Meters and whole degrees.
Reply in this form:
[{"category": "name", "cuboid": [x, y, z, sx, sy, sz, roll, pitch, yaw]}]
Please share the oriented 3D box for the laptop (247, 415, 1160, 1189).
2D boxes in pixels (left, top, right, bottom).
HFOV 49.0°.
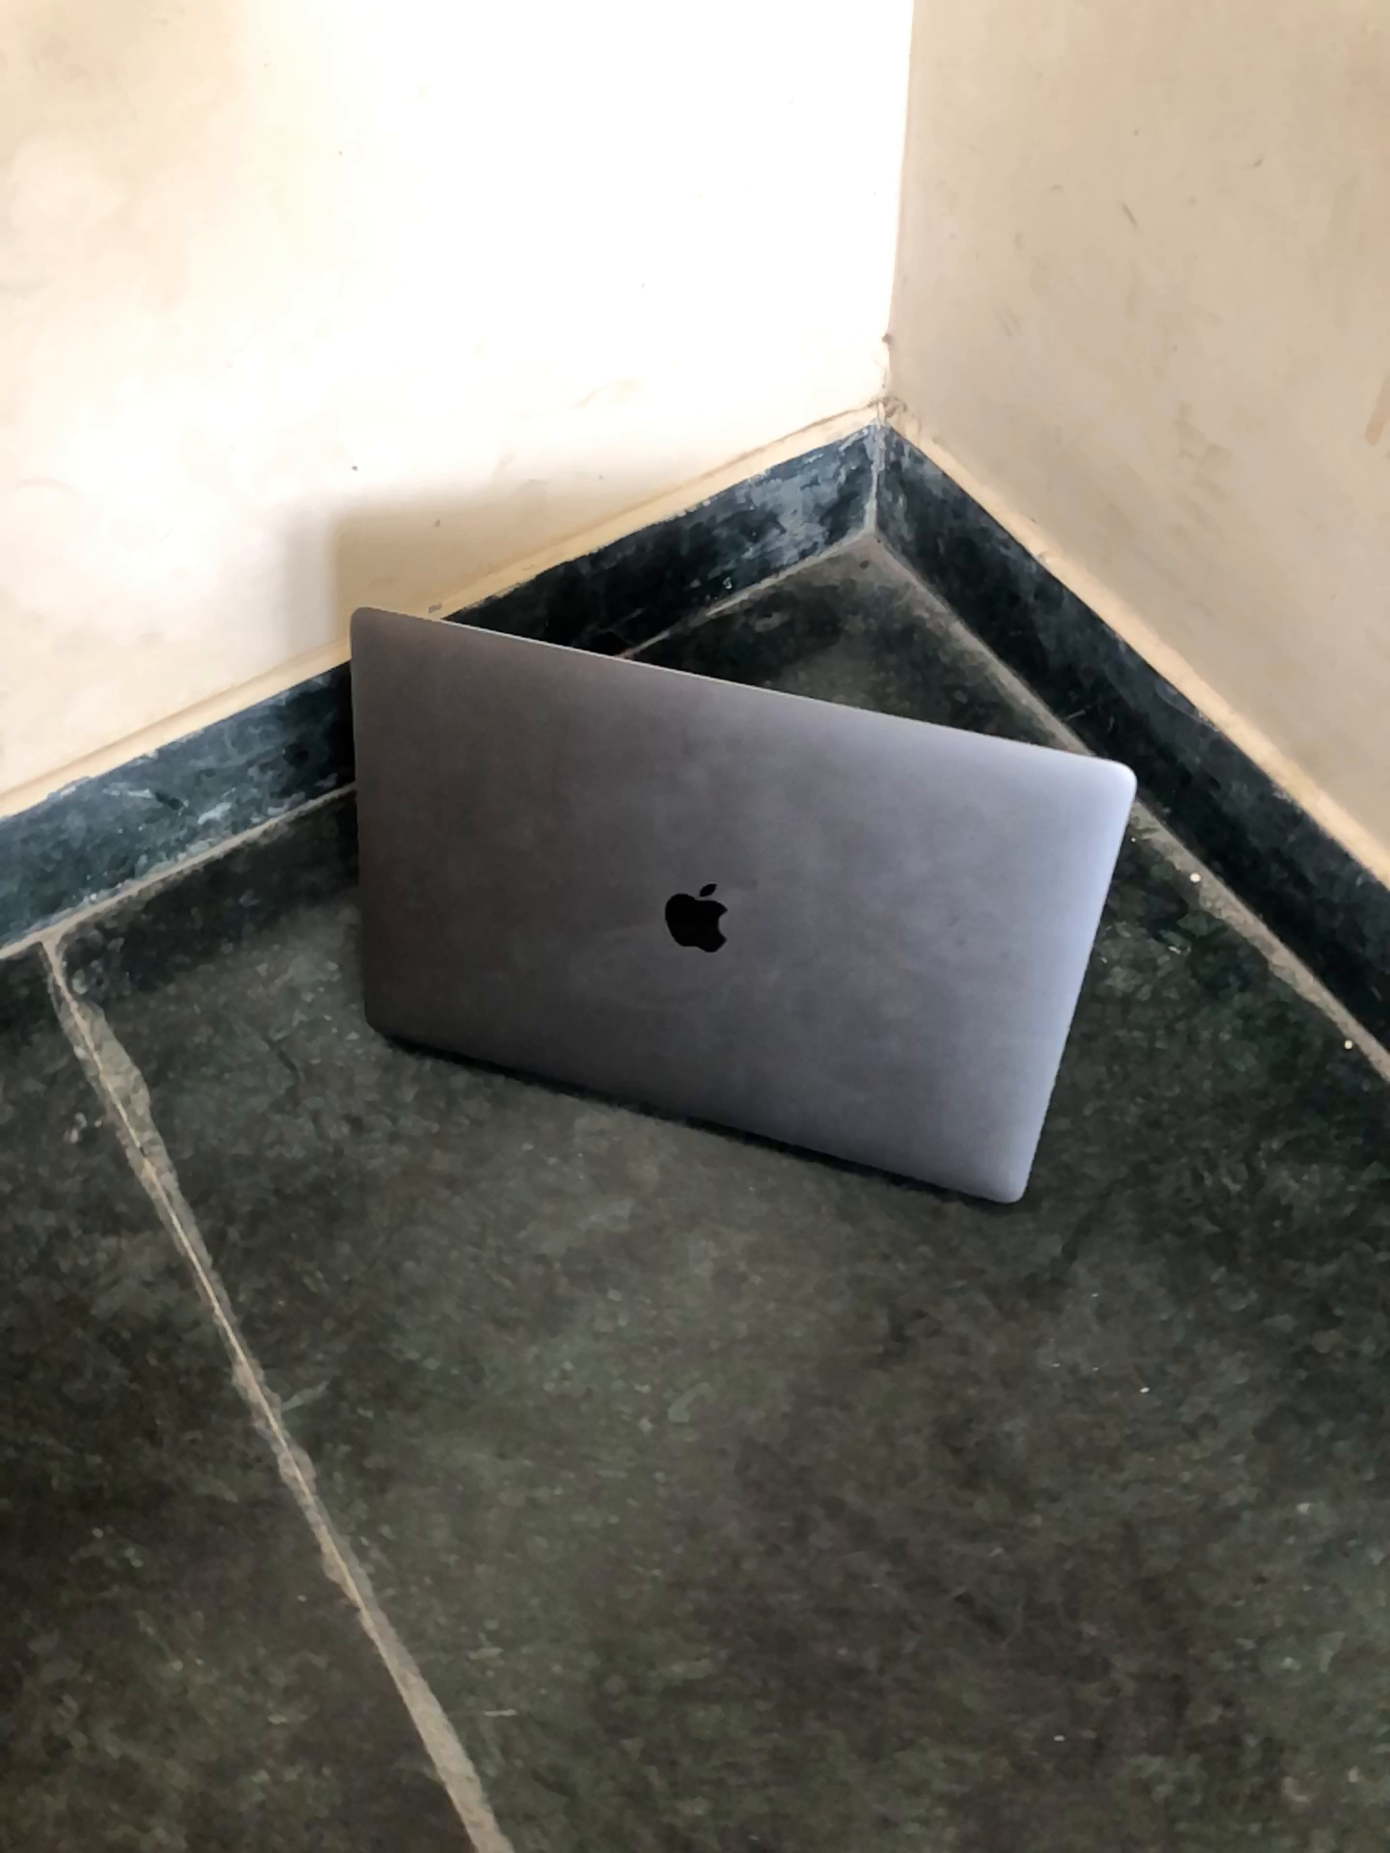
[{"category": "laptop", "cuboid": [0.012, -0.062, 0.715, 0.329, 0.198, 0.221, 14, 59, 14]}]
